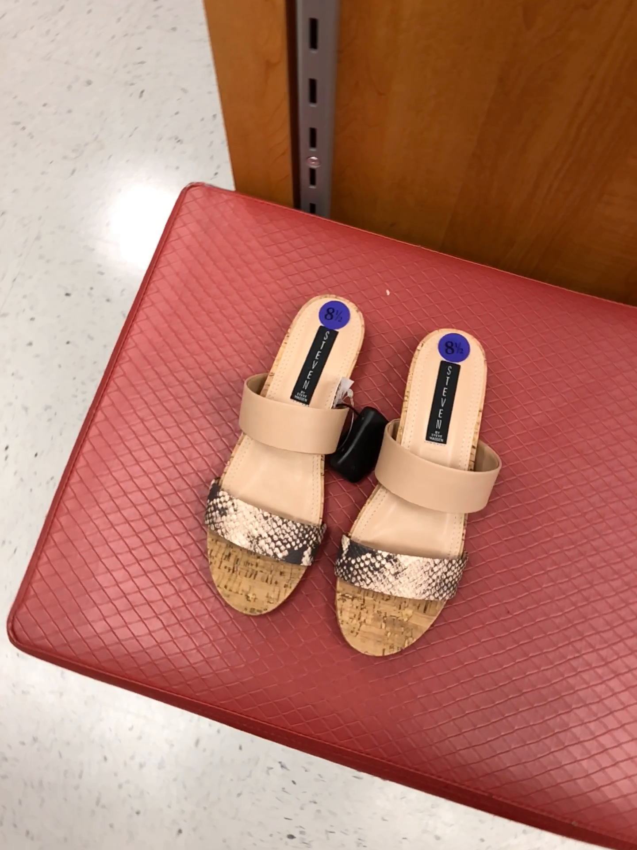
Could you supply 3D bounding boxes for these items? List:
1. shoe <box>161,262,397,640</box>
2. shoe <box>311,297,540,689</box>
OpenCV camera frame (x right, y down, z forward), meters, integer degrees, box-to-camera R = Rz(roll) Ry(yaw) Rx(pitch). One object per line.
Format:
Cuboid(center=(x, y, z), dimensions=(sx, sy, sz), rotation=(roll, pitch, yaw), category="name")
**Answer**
Cuboid(center=(-0.023, 0.020, 0.534), dimensions=(0.095, 0.085, 0.257), rotation=(16, 74, 4), category="shoe")
Cuboid(center=(0.078, 0.048, 0.526), dimensions=(0.096, 0.085, 0.257), rotation=(17, 74, 4), category="shoe")
